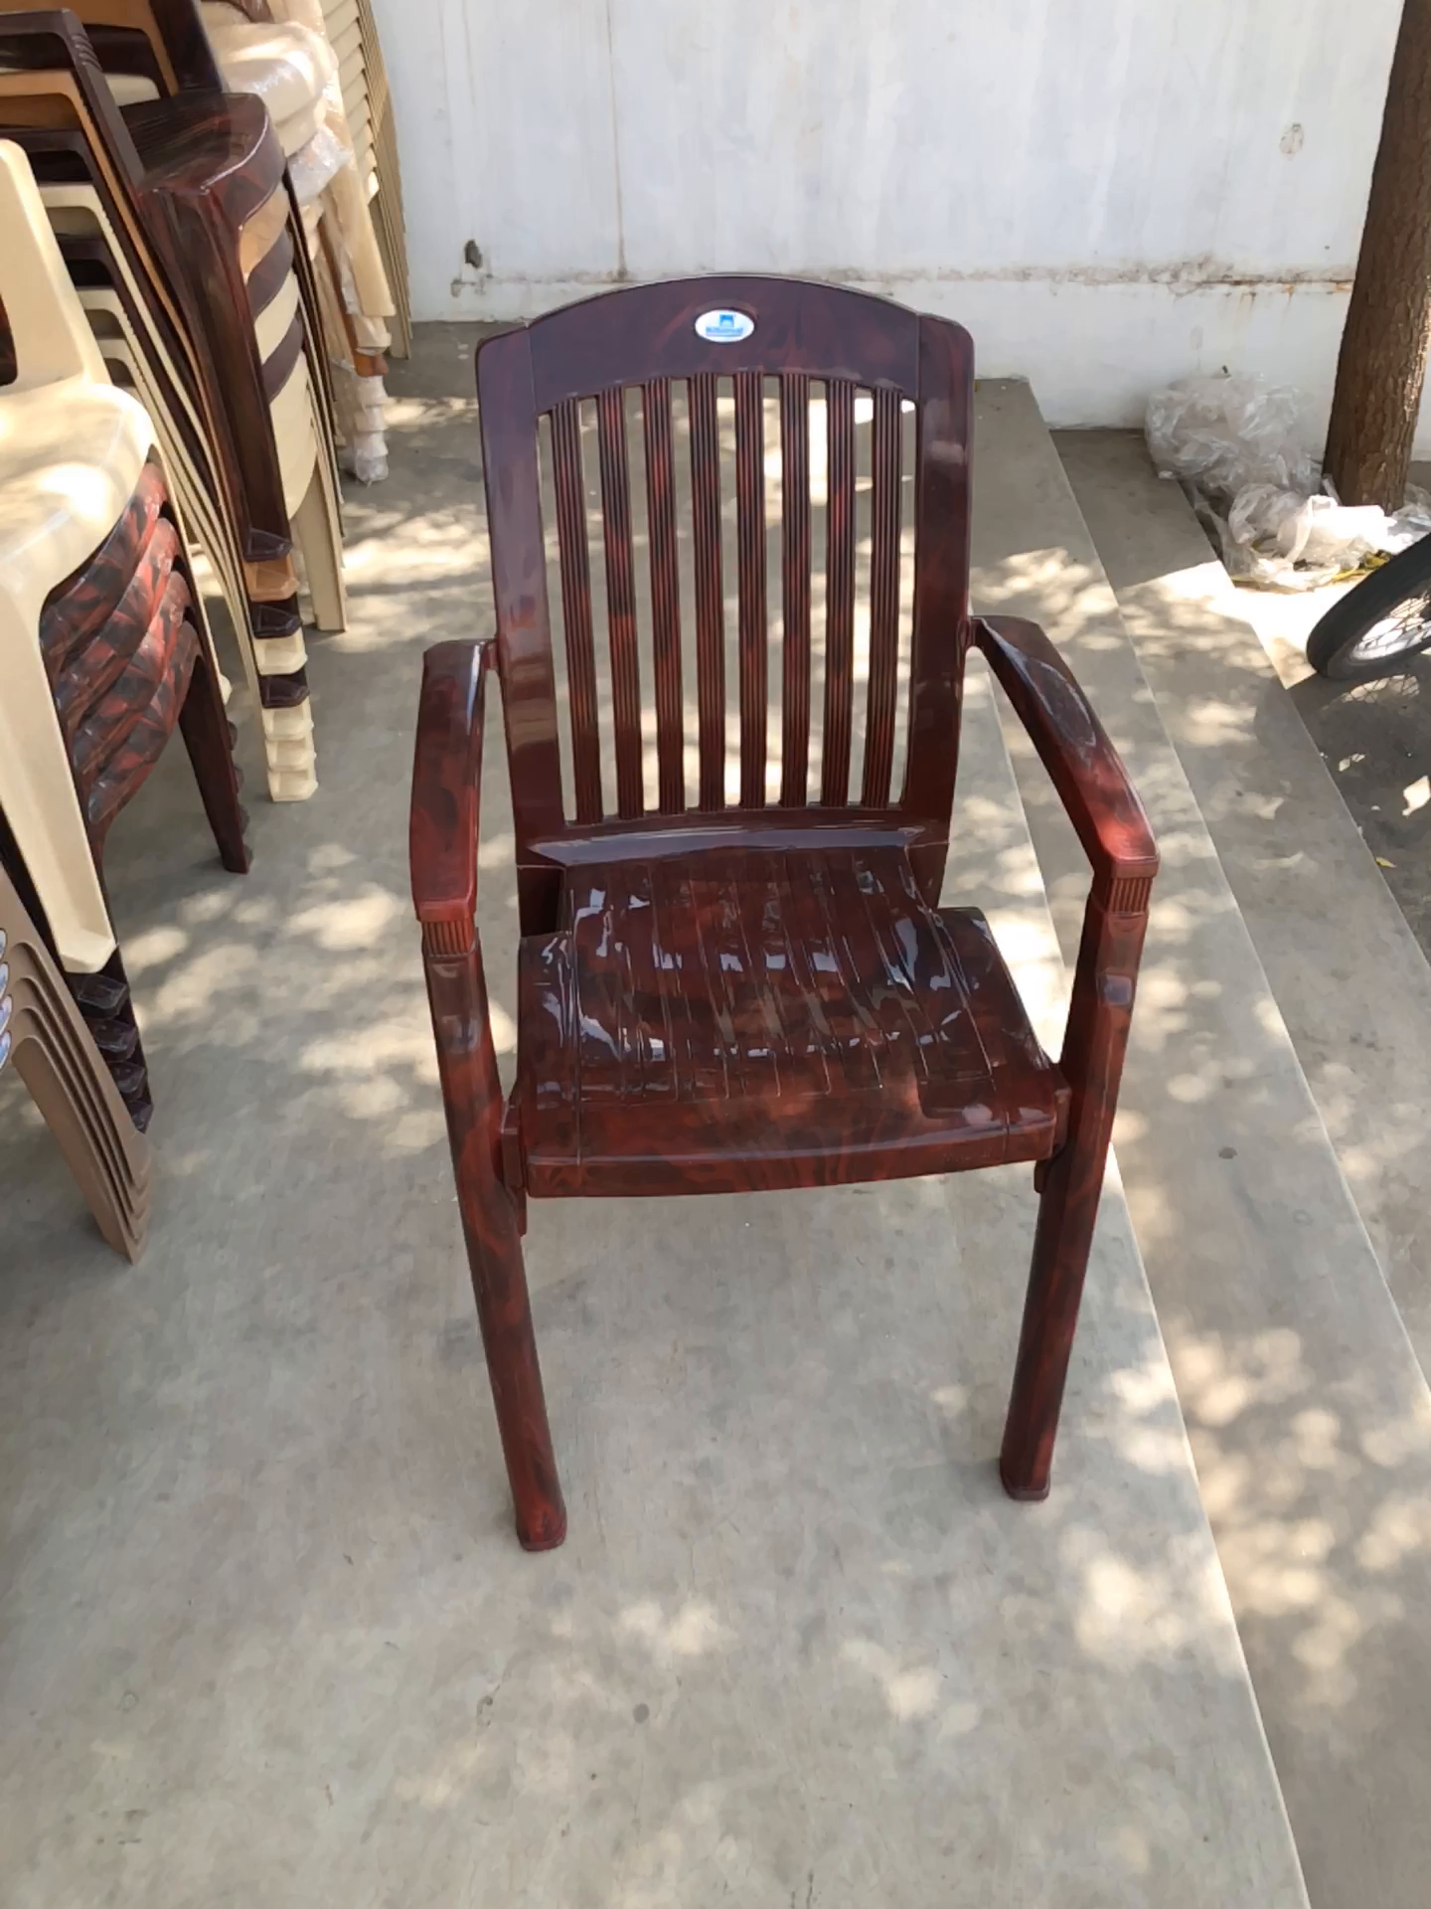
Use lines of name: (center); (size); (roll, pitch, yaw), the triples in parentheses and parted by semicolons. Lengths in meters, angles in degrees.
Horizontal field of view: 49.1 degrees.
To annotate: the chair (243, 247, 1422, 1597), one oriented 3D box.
chair: (0.028, -0.030, 1.338); (0.610, 0.856, 0.693); (-5, 42, -6)
